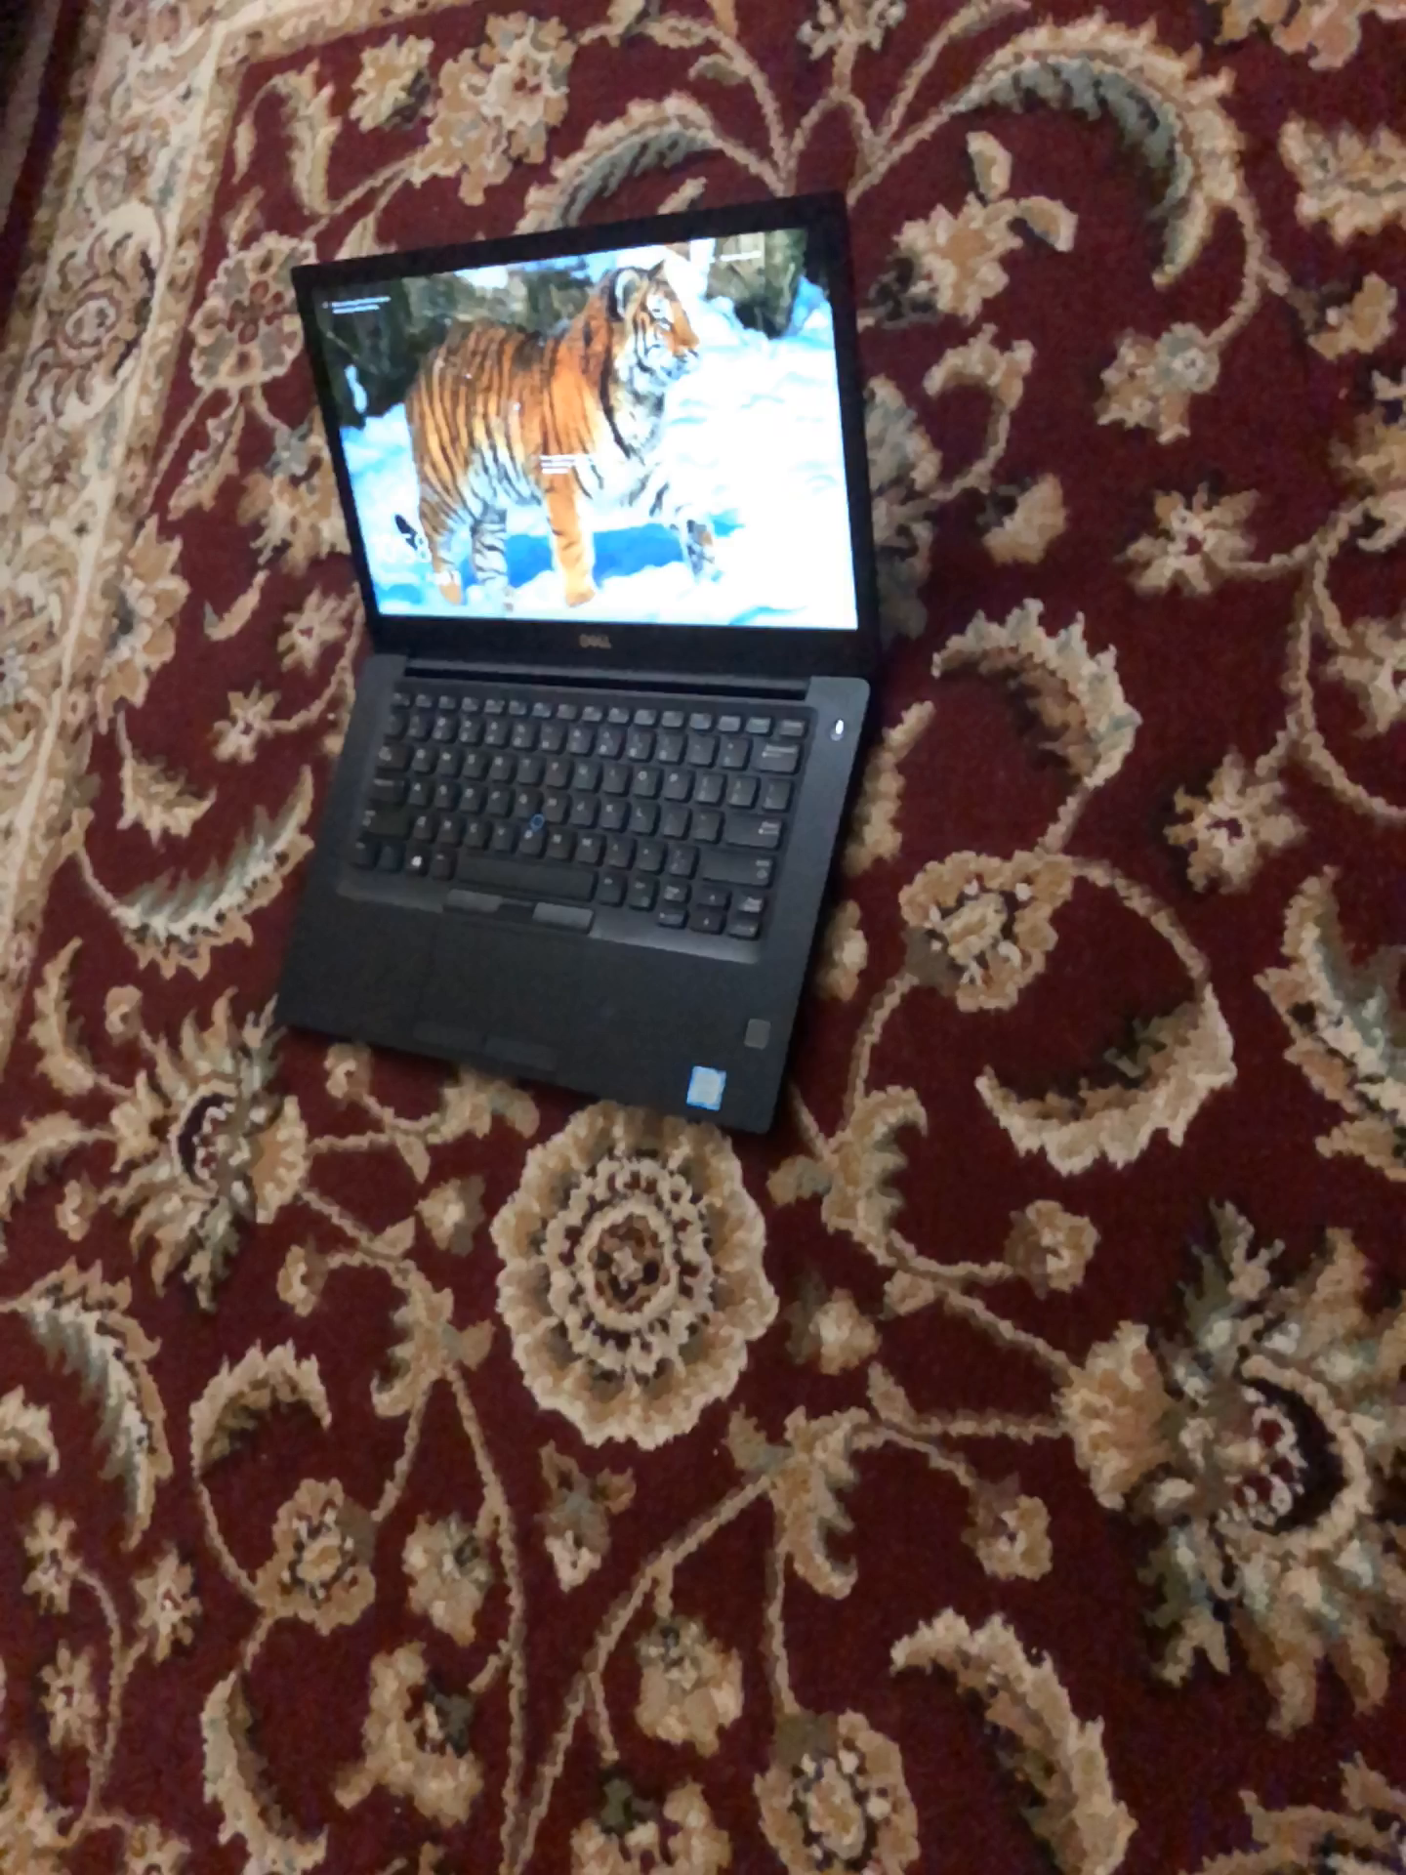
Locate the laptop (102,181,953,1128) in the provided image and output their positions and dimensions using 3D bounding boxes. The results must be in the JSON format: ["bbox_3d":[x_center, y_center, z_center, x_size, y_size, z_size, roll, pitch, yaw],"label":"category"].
[{"bbox_3d":[-0.091,-0.133,0.762,0.330,0.124,0.383,9,82,33],"label":"laptop"}]
